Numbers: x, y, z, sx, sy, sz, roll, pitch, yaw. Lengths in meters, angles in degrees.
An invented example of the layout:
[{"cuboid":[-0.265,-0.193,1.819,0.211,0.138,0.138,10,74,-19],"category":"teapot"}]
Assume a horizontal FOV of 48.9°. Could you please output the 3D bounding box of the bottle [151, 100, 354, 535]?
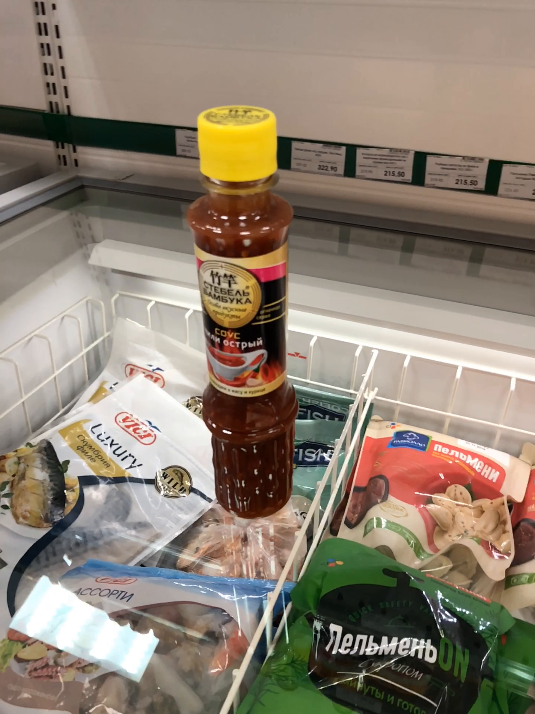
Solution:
[{"cuboid":[-0.003,-0.010,0.286,0.060,0.199,0.060,0,35,0],"category":"bottle"}]
